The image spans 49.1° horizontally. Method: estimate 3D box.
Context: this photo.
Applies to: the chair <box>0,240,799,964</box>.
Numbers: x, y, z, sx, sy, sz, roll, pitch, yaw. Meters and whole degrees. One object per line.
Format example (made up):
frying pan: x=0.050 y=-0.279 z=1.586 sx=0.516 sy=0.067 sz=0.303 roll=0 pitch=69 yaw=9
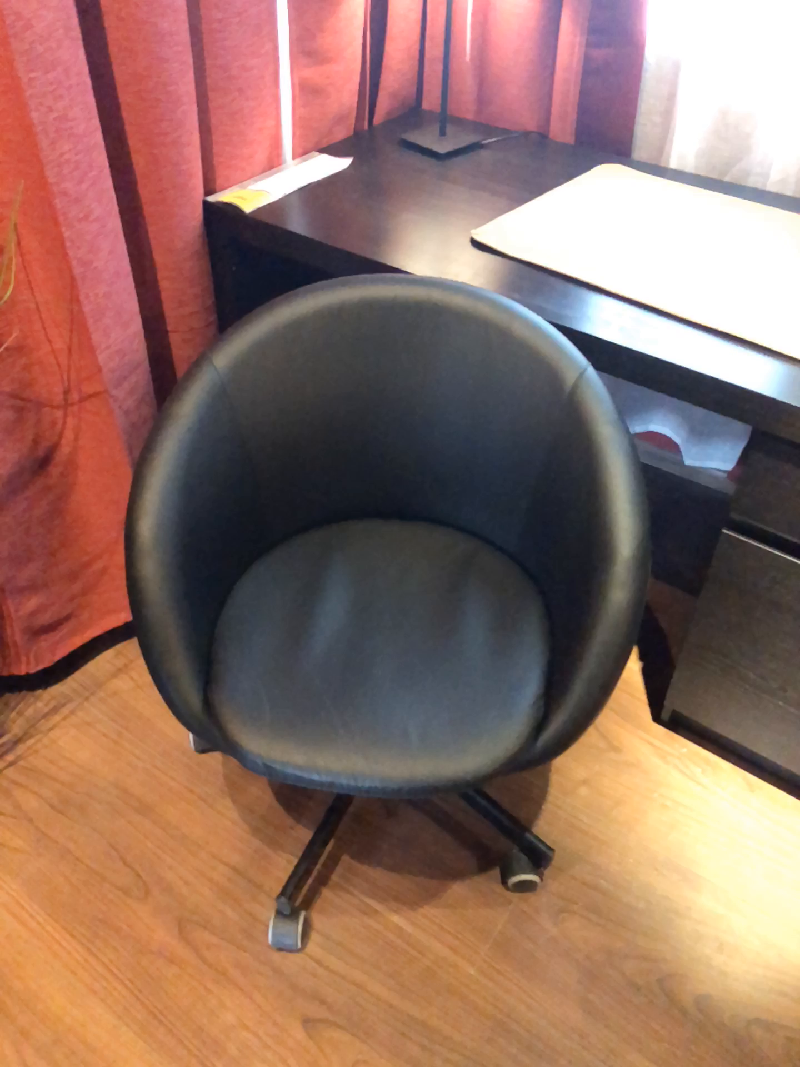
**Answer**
chair: x=-0.010 y=0.094 z=1.097 sx=0.630 sy=0.696 sz=0.574 roll=1 pitch=42 yaw=0
